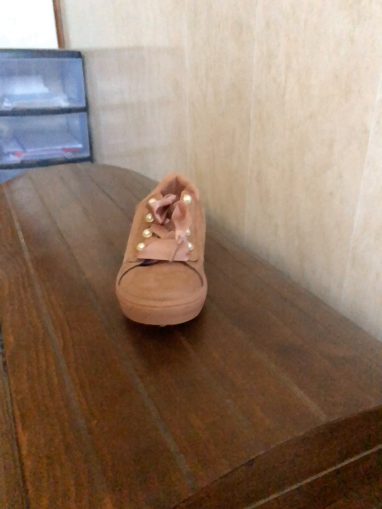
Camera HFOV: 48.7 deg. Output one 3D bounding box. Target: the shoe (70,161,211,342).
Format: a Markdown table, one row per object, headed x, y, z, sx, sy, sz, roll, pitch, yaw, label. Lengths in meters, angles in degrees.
| x | y | z | sx | sy | sz | roll | pitch | yaw | label |
| --- | --- | --- | --- | --- | --- | --- | --- | --- | --- |
| -0.034 | -0.027 | 0.480 | 0.110 | 0.090 | 0.282 | 1 | 27 | 3 | shoe |
